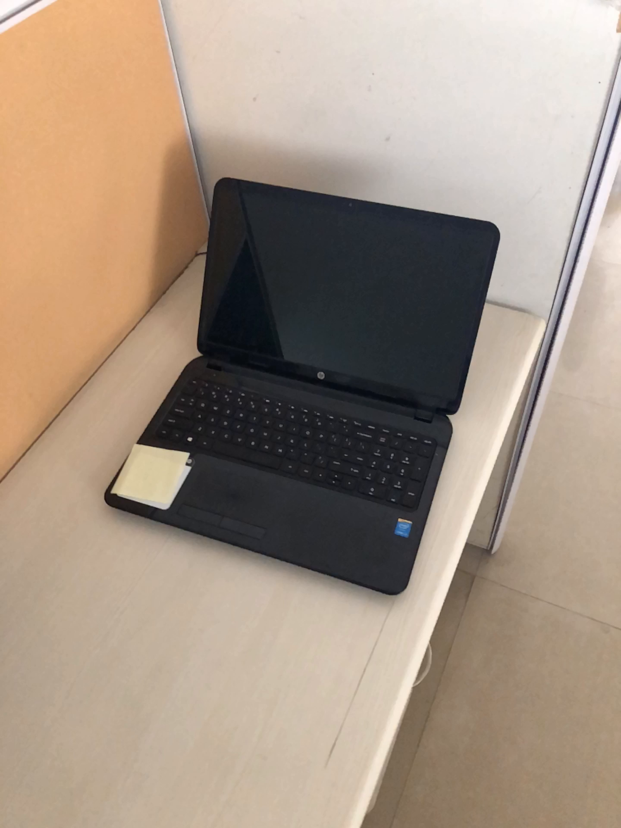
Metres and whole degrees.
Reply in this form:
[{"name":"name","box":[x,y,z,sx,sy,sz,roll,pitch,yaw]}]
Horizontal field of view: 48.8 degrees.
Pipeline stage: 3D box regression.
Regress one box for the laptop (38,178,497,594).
[{"name":"laptop","box":[-0.017,-0.064,0.852,0.391,0.204,0.418,14,53,16]}]
